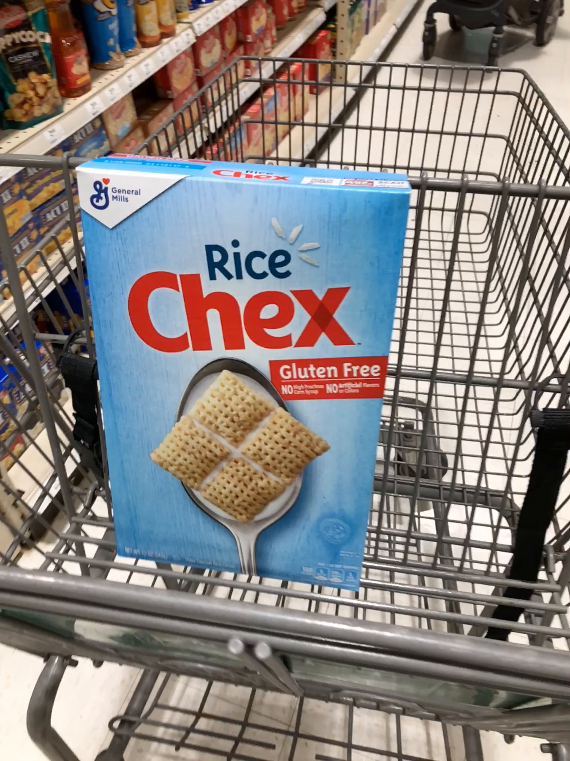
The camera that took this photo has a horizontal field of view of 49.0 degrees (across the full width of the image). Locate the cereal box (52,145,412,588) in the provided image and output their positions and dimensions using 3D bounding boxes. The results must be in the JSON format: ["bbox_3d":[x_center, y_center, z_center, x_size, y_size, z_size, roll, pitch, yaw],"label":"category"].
[{"bbox_3d":[-0.033,0.000,0.432,0.200,0.290,0.060,6,27,7],"label":"cereal box"}]
